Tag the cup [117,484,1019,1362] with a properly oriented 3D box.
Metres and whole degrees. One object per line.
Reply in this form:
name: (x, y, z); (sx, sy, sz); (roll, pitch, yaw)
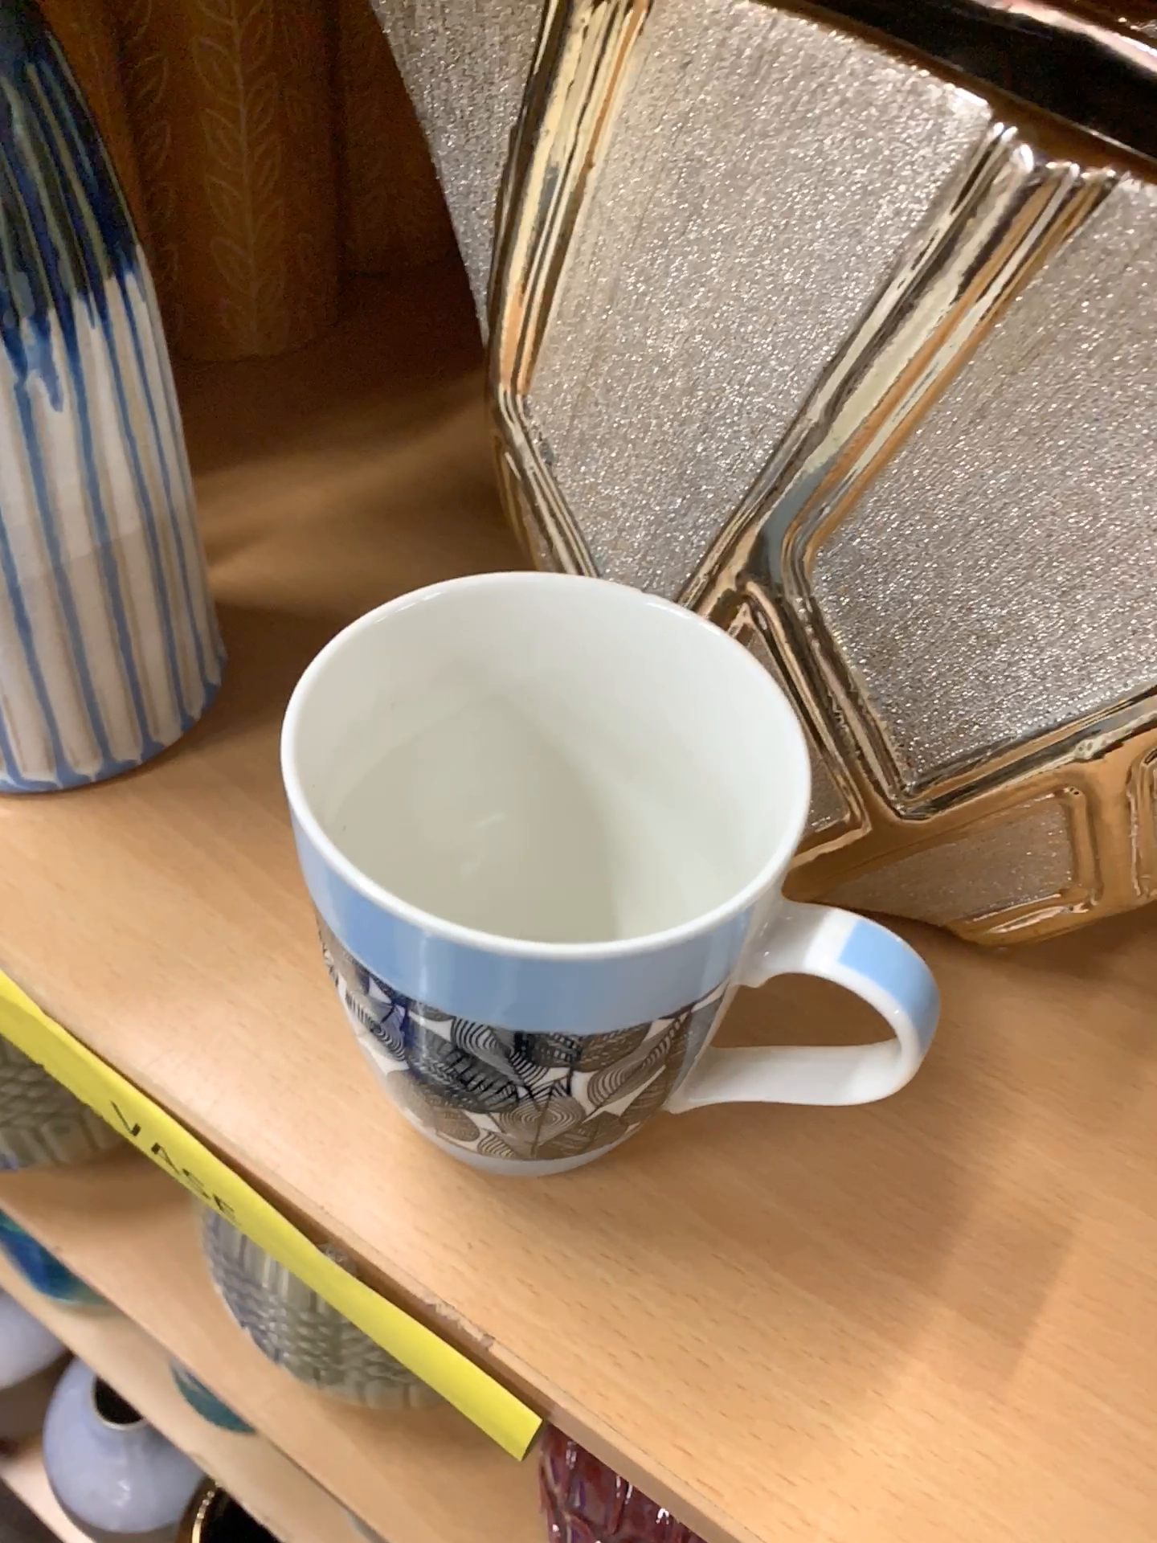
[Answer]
cup: (0.001, 0.024, 0.204); (0.110, 0.090, 0.080); (18, 45, 10)
